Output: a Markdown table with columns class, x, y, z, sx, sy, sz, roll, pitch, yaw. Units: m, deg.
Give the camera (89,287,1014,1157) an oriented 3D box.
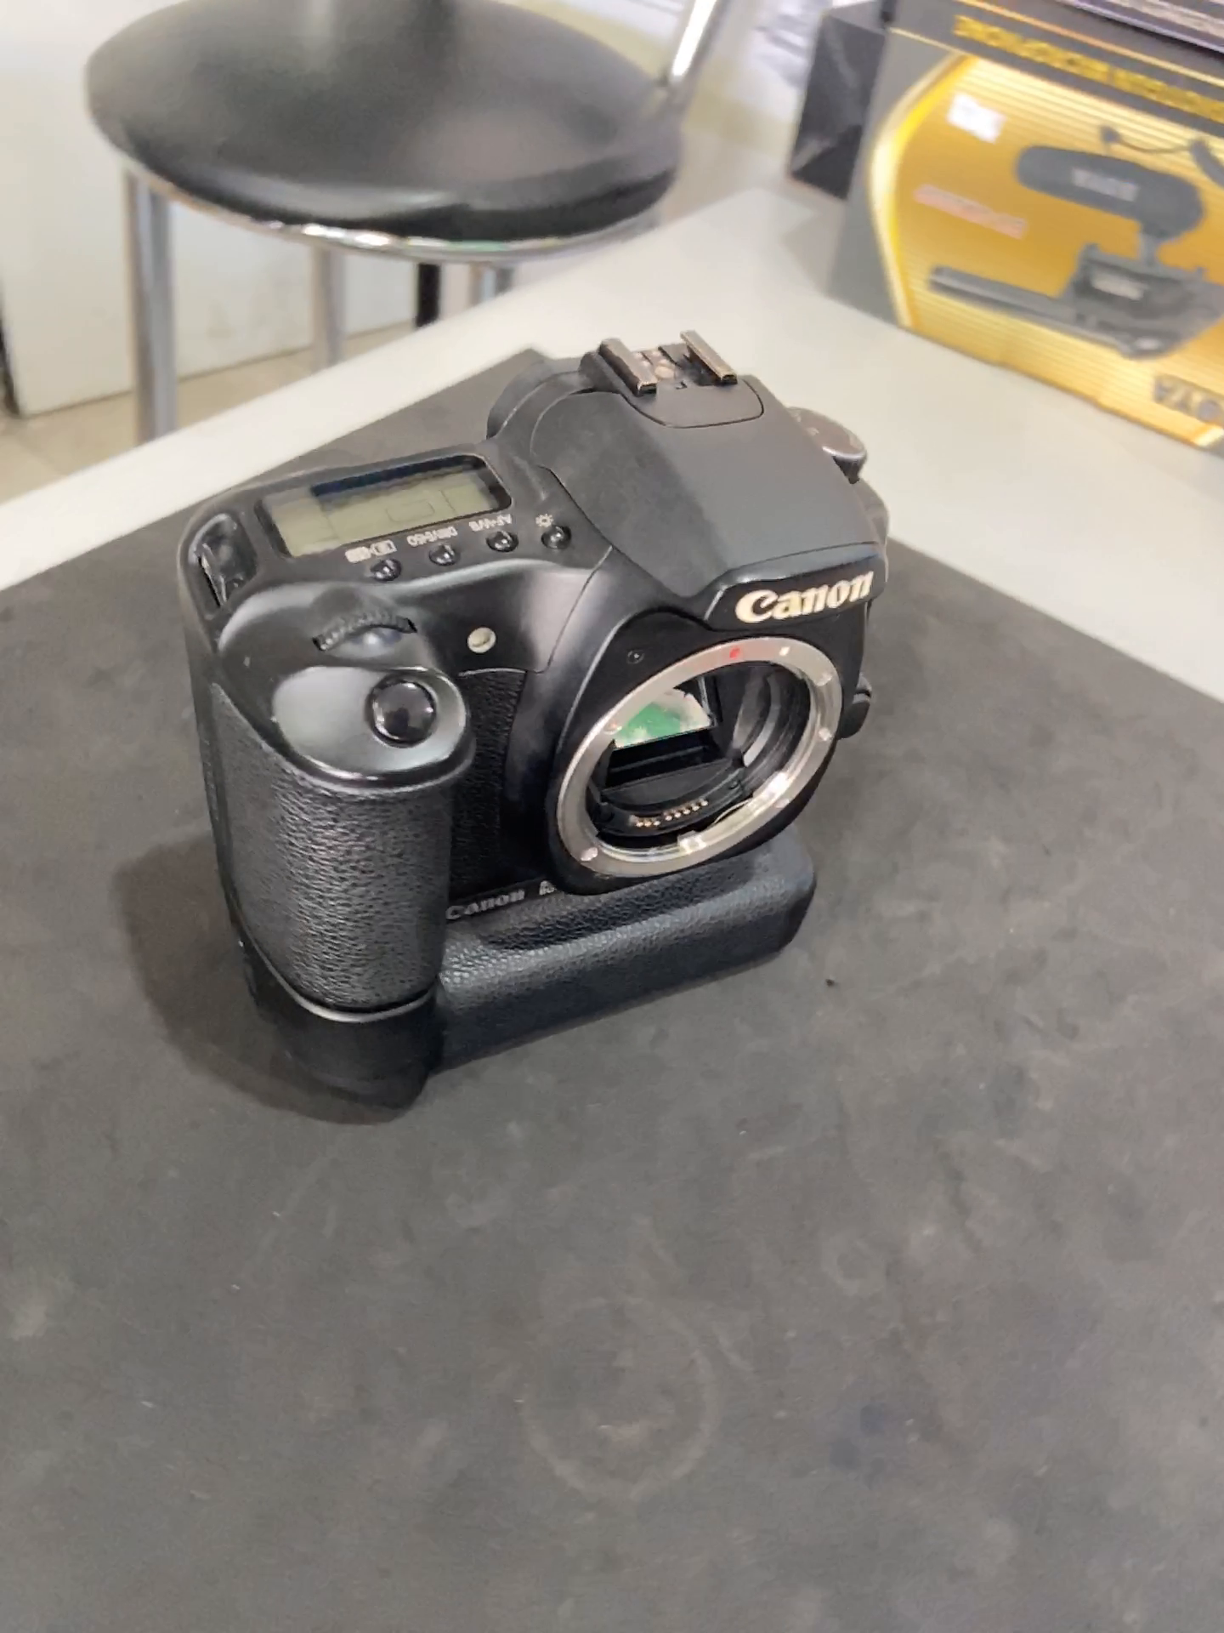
| class | x | y | z | sx | sy | sz | roll | pitch | yaw |
| --- | --- | --- | --- | --- | --- | --- | --- | --- | --- |
| camera | -0.018 | -0.021 | 0.268 | 0.140 | 0.139 | 0.080 | -14 | 50 | -23 |
